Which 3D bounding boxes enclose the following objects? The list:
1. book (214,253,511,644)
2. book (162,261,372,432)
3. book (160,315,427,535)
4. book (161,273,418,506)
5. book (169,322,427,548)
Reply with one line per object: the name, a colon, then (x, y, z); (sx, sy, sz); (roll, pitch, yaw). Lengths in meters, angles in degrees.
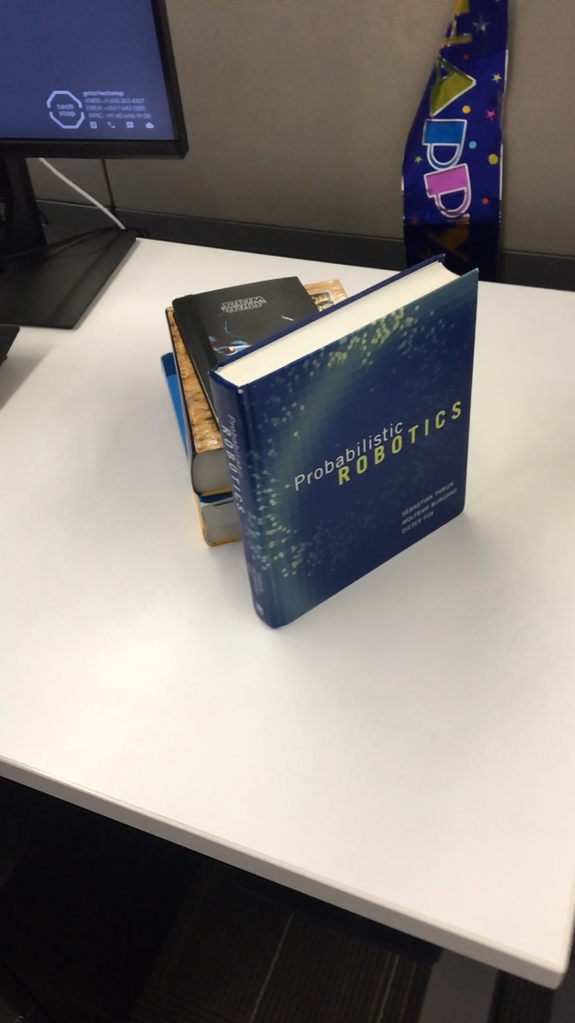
book: (0.061, -0.042, 0.636); (0.210, 0.230, 0.050); (-30, 49, -23)
book: (-0.024, -0.151, 0.742); (0.130, 0.020, 0.200); (-15, 45, -10)
book: (-0.005, -0.092, 0.796); (0.190, 0.030, 0.240); (-13, 44, -8)
book: (-0.008, -0.120, 0.768); (0.180, 0.050, 0.240); (-11, 44, -6)
book: (-0.002, -0.085, 0.818); (0.190, 0.030, 0.260); (-12, 44, -6)
